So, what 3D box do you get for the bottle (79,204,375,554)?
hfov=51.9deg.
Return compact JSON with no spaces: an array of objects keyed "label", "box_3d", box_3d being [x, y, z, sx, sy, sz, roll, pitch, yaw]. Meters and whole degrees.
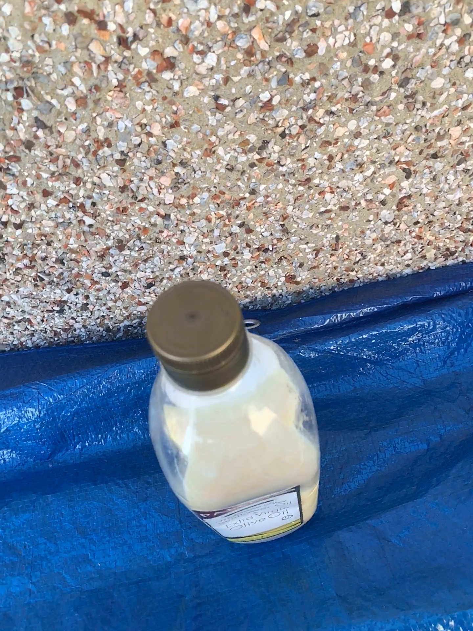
[{"label":"bottle","box_3d":[0.009,0.063,0.251,0.080,0.238,0.081,-4,60,8]}]
